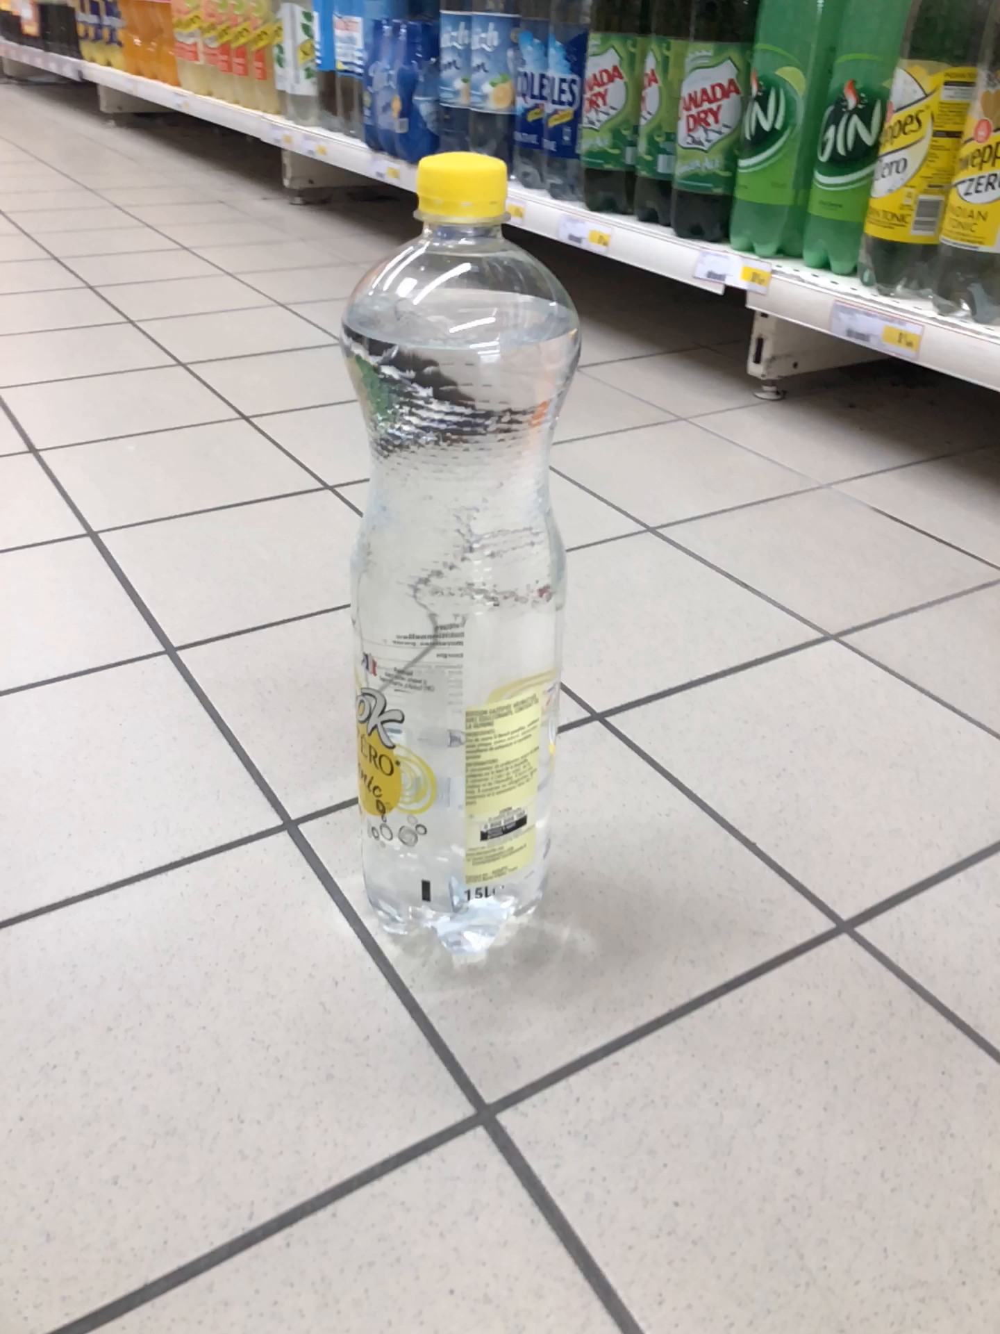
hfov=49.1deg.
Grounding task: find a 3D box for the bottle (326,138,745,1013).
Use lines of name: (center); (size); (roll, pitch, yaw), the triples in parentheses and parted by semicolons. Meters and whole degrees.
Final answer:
bottle: (0.002, -0.027, 0.432); (0.100, 0.318, 0.100); (2, 30, -1)
